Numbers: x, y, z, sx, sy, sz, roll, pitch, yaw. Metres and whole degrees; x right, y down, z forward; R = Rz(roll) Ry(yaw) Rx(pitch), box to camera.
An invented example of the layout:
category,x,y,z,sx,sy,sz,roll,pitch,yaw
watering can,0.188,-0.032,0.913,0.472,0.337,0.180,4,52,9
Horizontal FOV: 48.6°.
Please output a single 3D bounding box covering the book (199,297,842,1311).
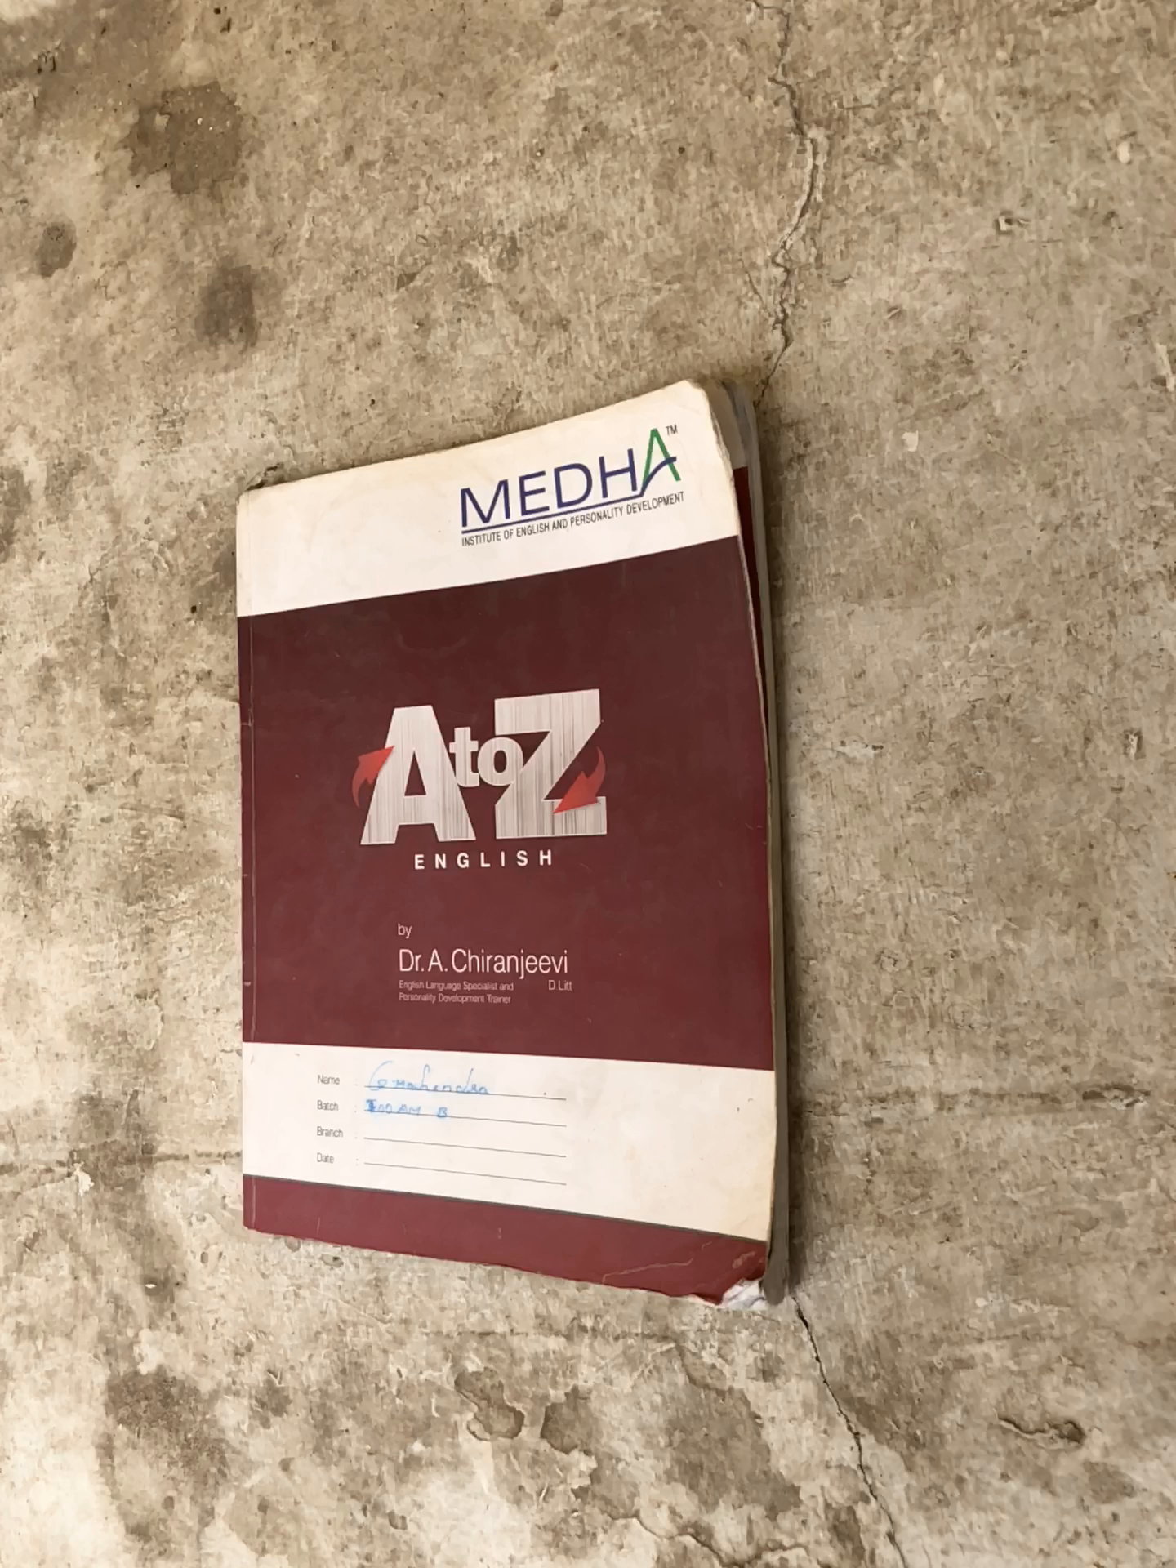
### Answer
category,x,y,z,sx,sy,sz,roll,pitch,yaw
book,-0.033,0.008,0.425,0.221,0.030,0.280,-4,84,29
